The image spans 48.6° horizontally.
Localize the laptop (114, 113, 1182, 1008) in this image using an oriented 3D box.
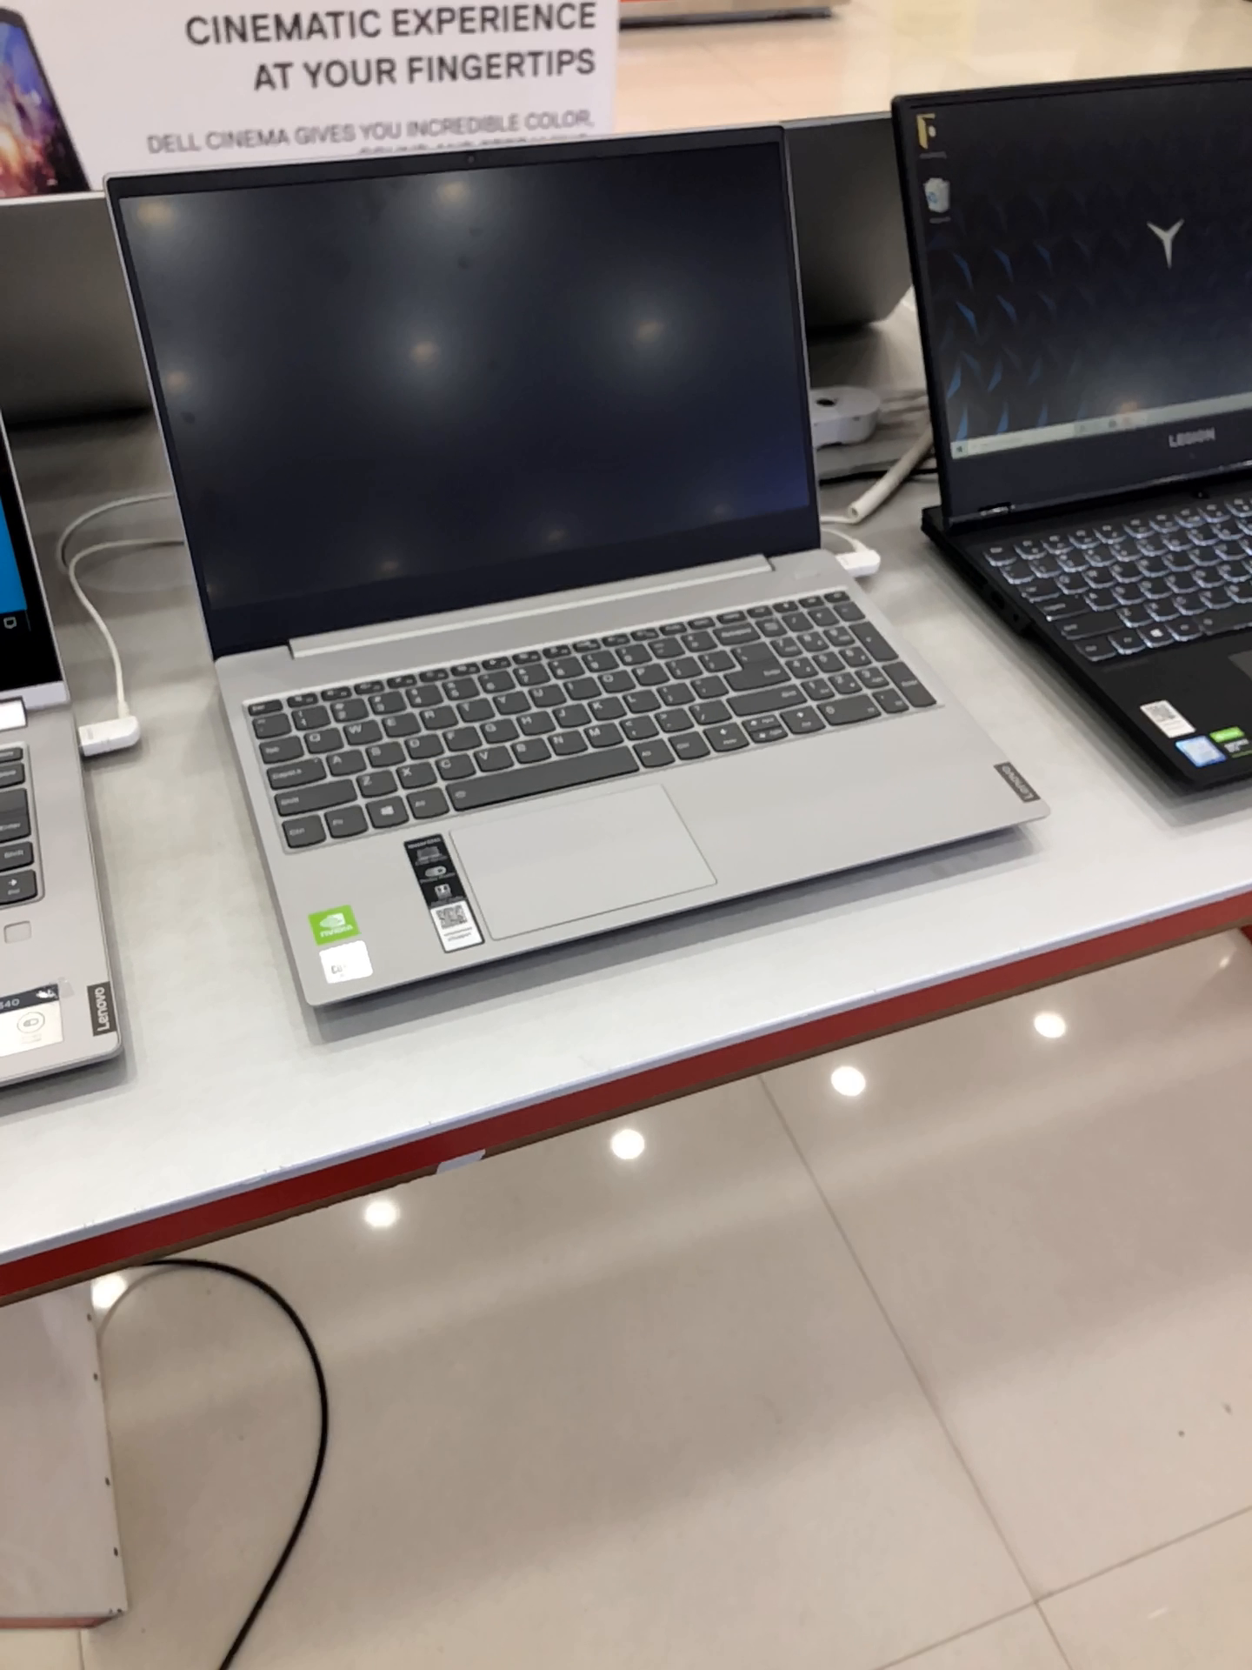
[{"bbox_3d":[-0.020,-0.158,0.640,0.342,0.196,0.346,-14,47,-17],"label":"laptop"}]
